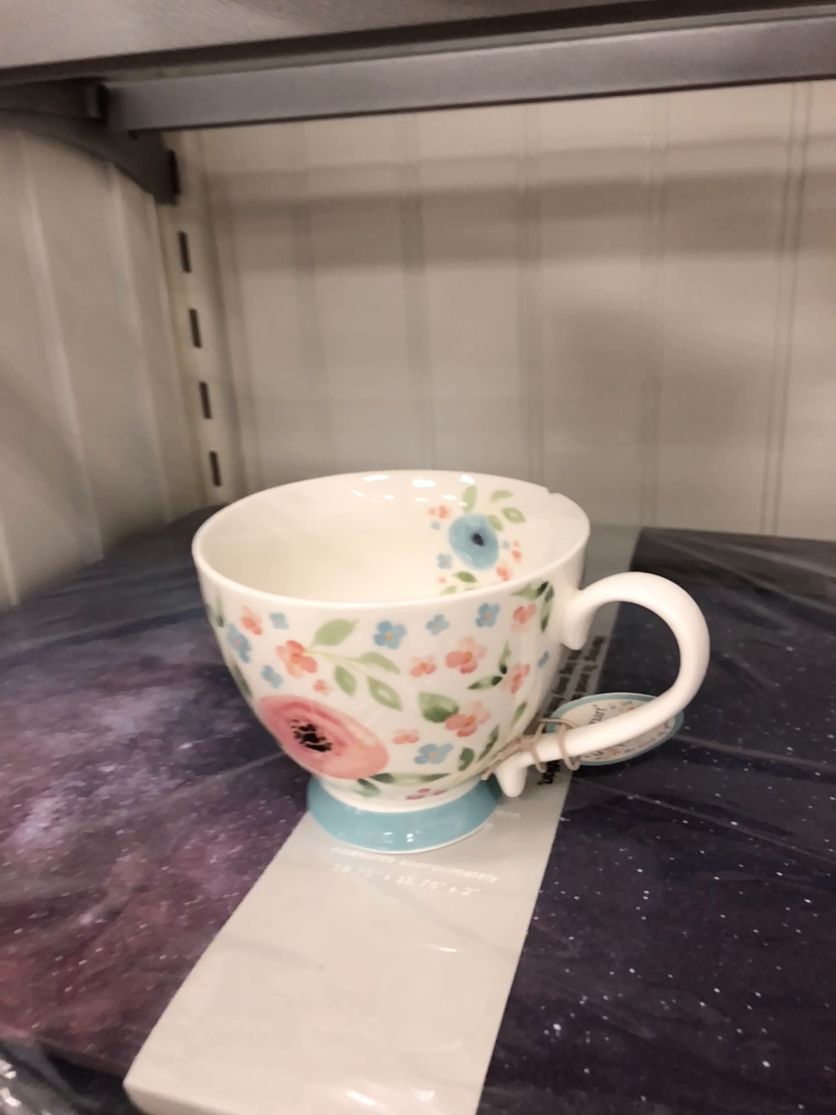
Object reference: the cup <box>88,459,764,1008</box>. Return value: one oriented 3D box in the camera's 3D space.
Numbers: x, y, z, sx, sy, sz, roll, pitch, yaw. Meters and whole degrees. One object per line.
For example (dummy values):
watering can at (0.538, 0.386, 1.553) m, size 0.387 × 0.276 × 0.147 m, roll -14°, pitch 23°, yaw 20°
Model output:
cup at (0.007, 0.031, 0.267) m, size 0.150 × 0.079 × 0.111 m, roll 9°, pitch 24°, yaw 29°
